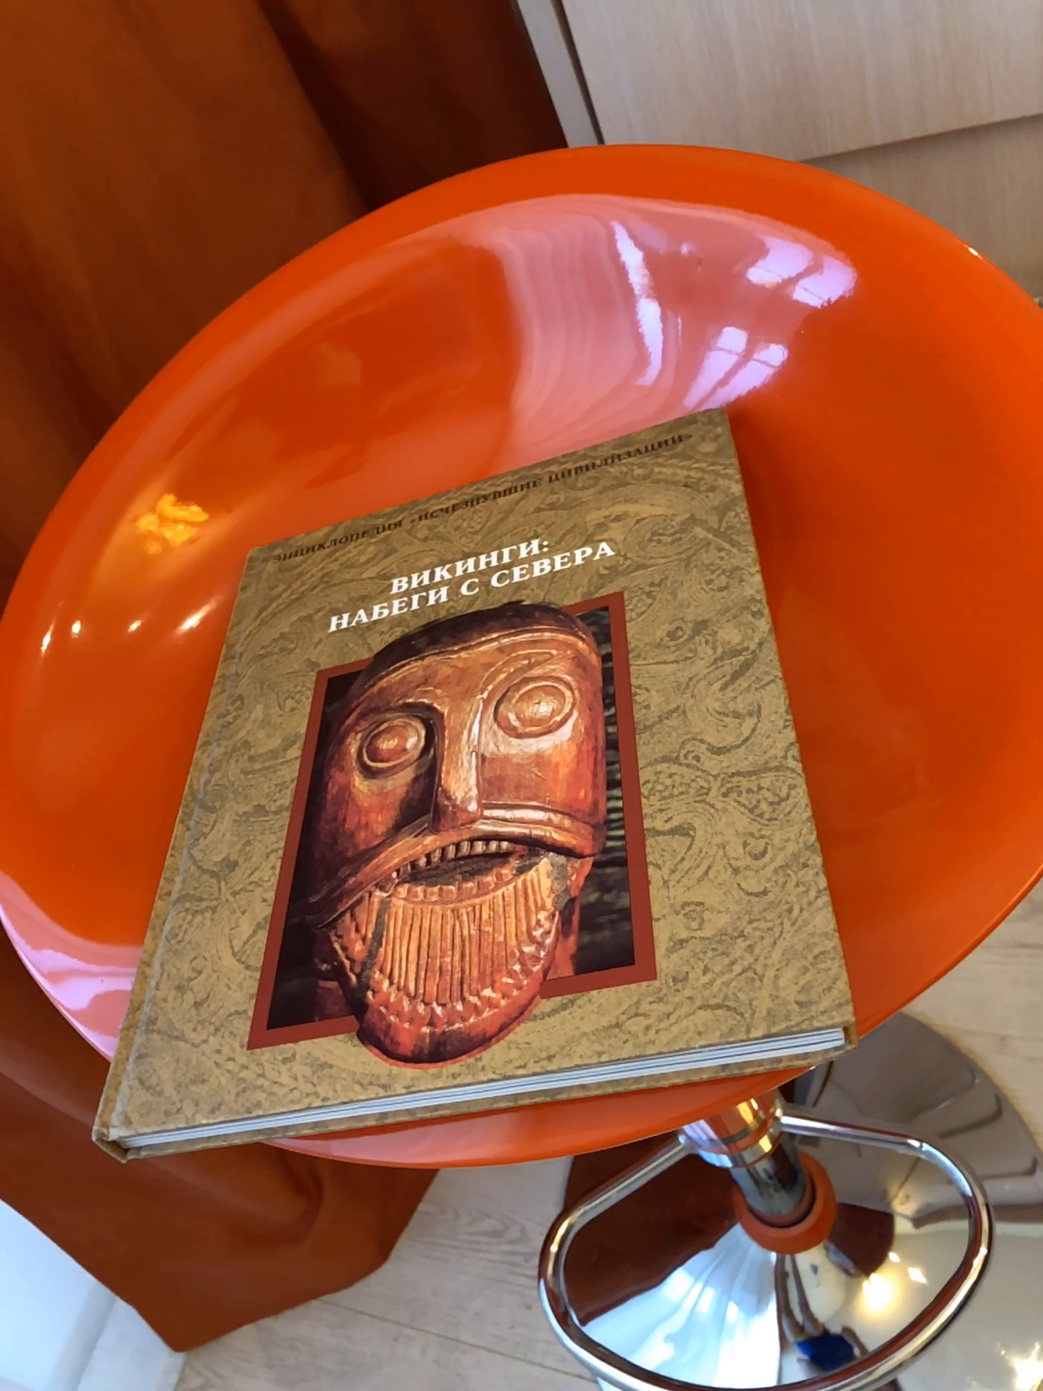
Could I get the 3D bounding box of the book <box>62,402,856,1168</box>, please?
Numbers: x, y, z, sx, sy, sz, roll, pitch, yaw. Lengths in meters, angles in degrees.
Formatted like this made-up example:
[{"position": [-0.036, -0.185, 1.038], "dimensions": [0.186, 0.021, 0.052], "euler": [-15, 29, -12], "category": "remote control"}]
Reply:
[{"position": [-0.021, 0.012, 0.391], "dimensions": [0.215, 0.022, 0.262], "euler": [-13, 44, 15], "category": "book"}]
